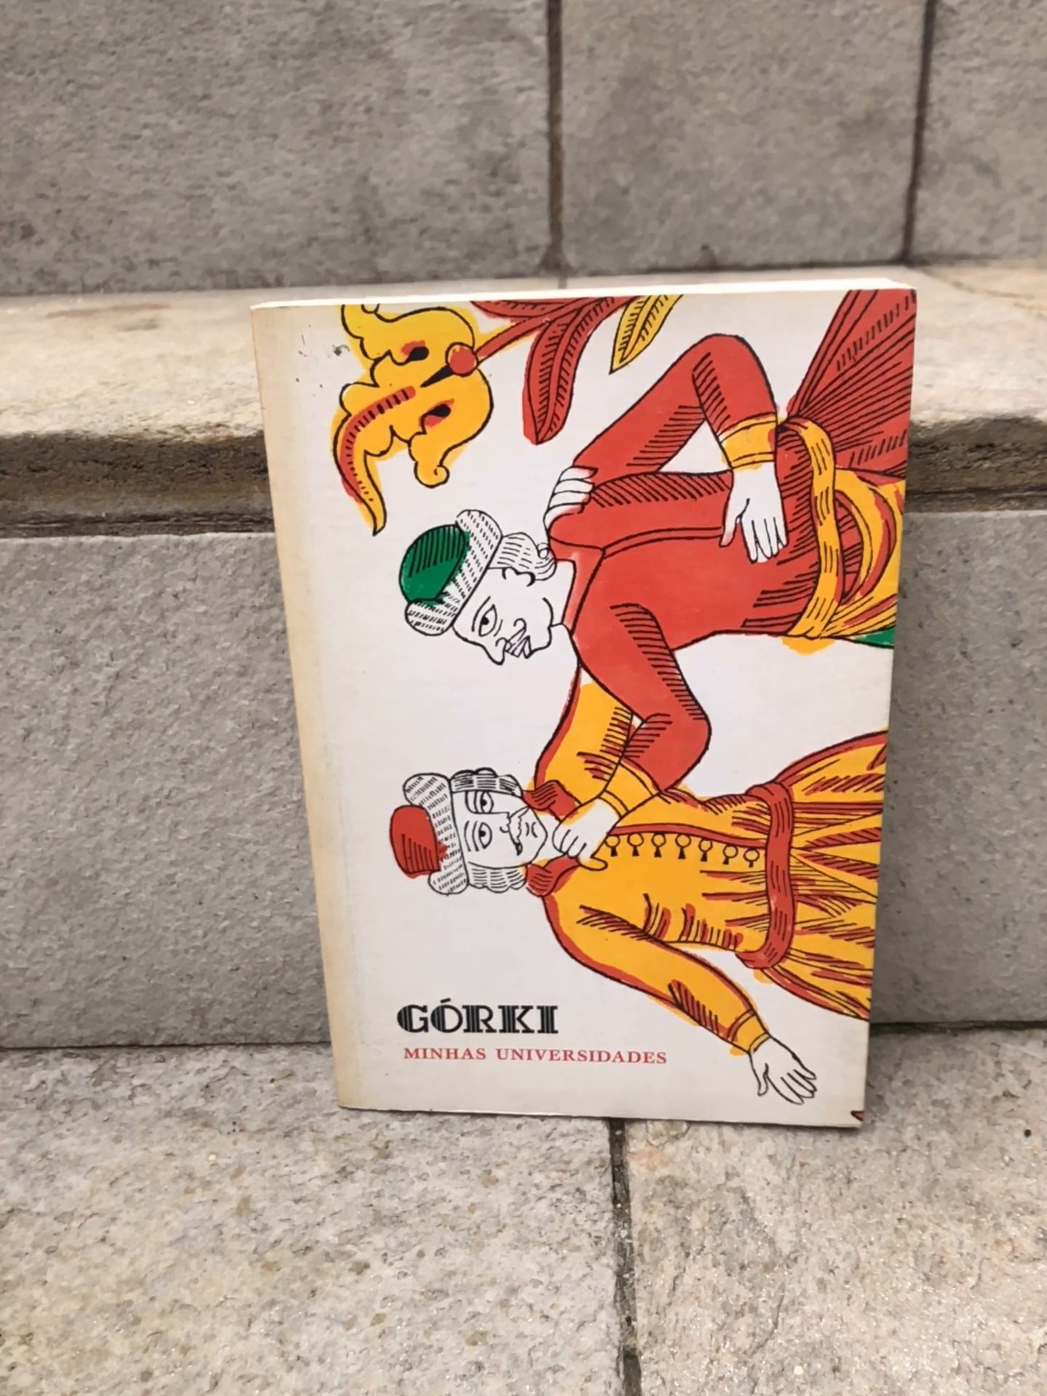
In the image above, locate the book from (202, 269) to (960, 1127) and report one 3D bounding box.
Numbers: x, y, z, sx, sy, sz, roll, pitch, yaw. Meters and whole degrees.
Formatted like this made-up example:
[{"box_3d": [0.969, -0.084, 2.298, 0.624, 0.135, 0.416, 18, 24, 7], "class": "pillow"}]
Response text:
[{"box_3d": [0.014, 0.007, 0.264, 0.141, 0.189, 0.030, 0, 20, 6], "class": "book"}]
